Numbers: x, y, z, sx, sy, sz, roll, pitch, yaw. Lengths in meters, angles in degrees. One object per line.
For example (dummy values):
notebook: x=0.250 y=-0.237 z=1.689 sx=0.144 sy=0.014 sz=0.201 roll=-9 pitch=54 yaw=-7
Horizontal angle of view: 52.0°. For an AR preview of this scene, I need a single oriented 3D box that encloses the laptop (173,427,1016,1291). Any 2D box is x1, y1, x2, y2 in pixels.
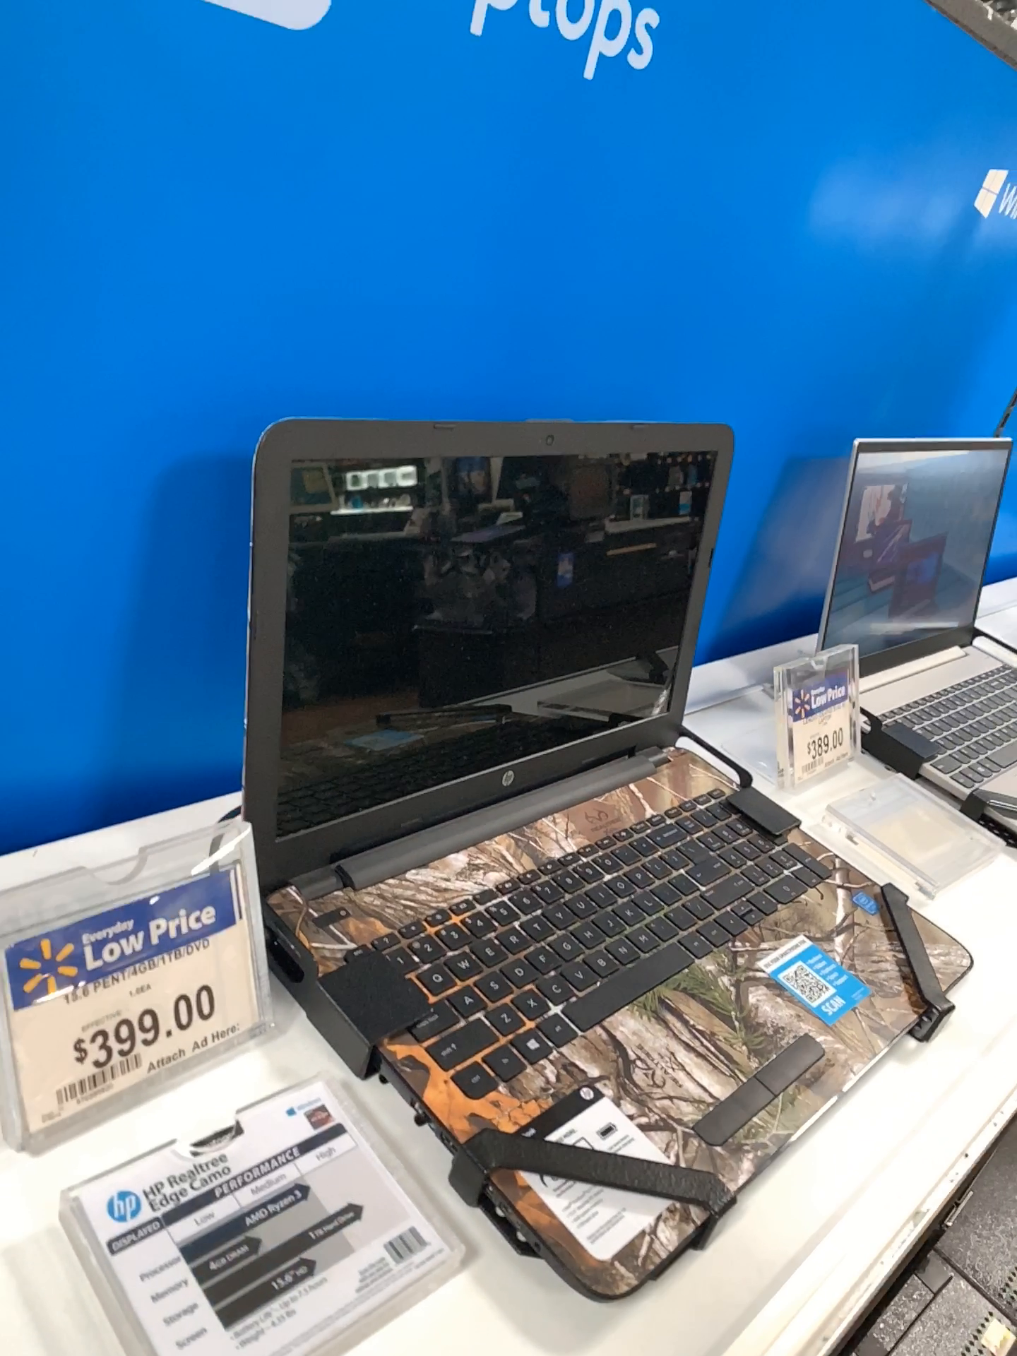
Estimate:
laptop: x=0.086 y=0.032 z=0.555 sx=0.375 sy=0.227 sz=0.303 roll=-13 pitch=40 yaw=-45
